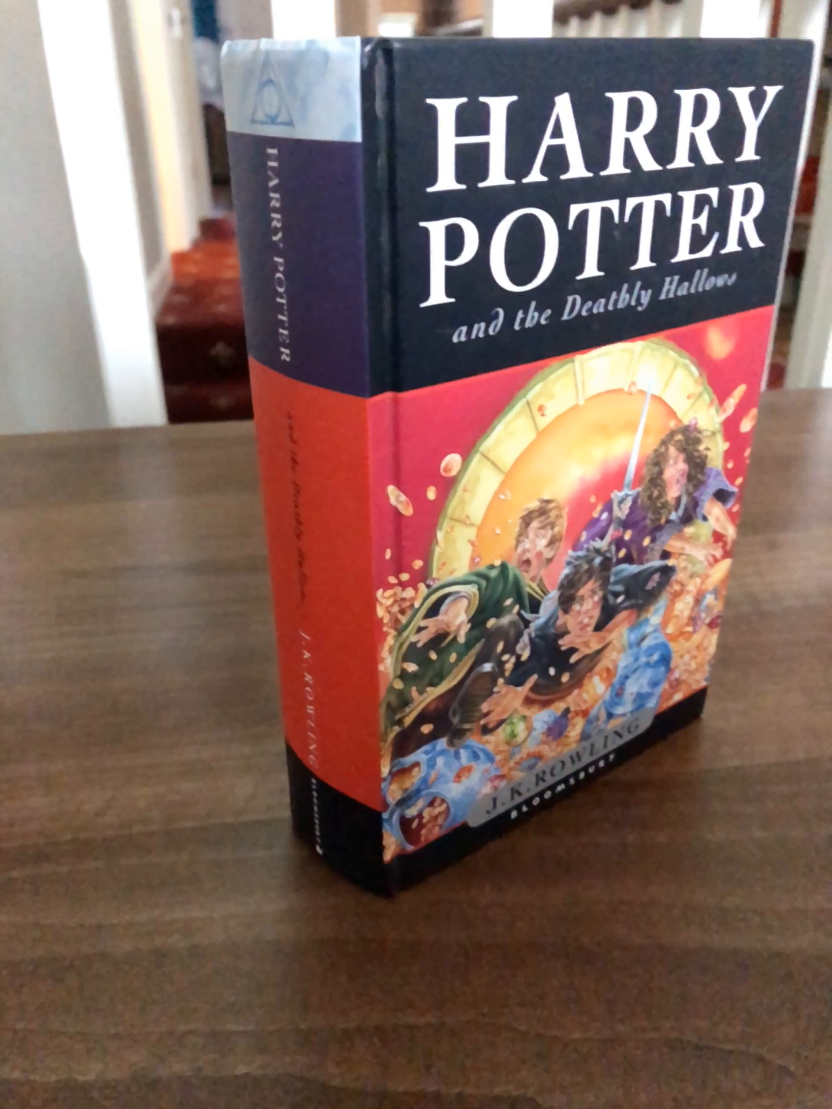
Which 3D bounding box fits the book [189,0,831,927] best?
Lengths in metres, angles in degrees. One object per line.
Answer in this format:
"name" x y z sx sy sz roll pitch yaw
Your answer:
"book" 0.028 -0.026 0.256 0.140 0.209 0.060 -18 31 -32
